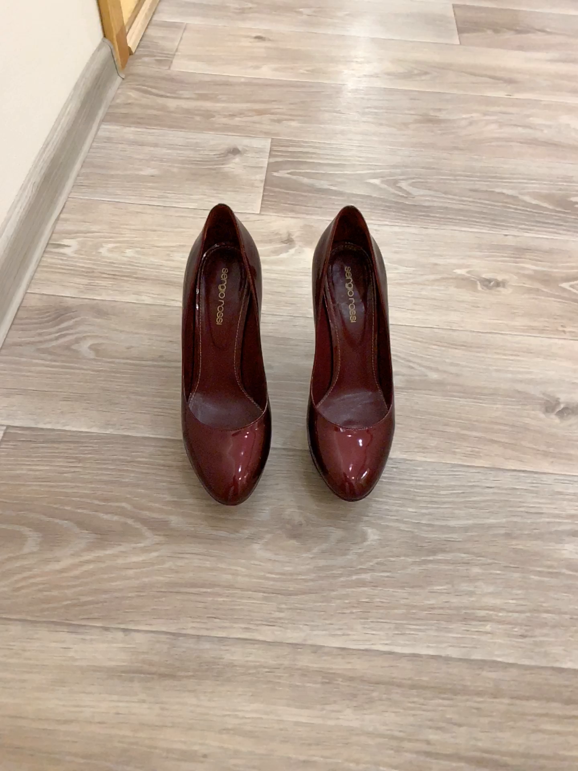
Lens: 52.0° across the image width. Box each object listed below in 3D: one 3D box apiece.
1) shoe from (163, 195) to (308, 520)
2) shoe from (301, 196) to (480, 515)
[{"bbox_3d":[-0.045,-0.024,0.476,0.086,0.149,0.211,-2,54,-5],"label":"shoe"},{"bbox_3d":[0.064,-0.025,0.482,0.086,0.149,0.211,-1,54,-4],"label":"shoe"}]
